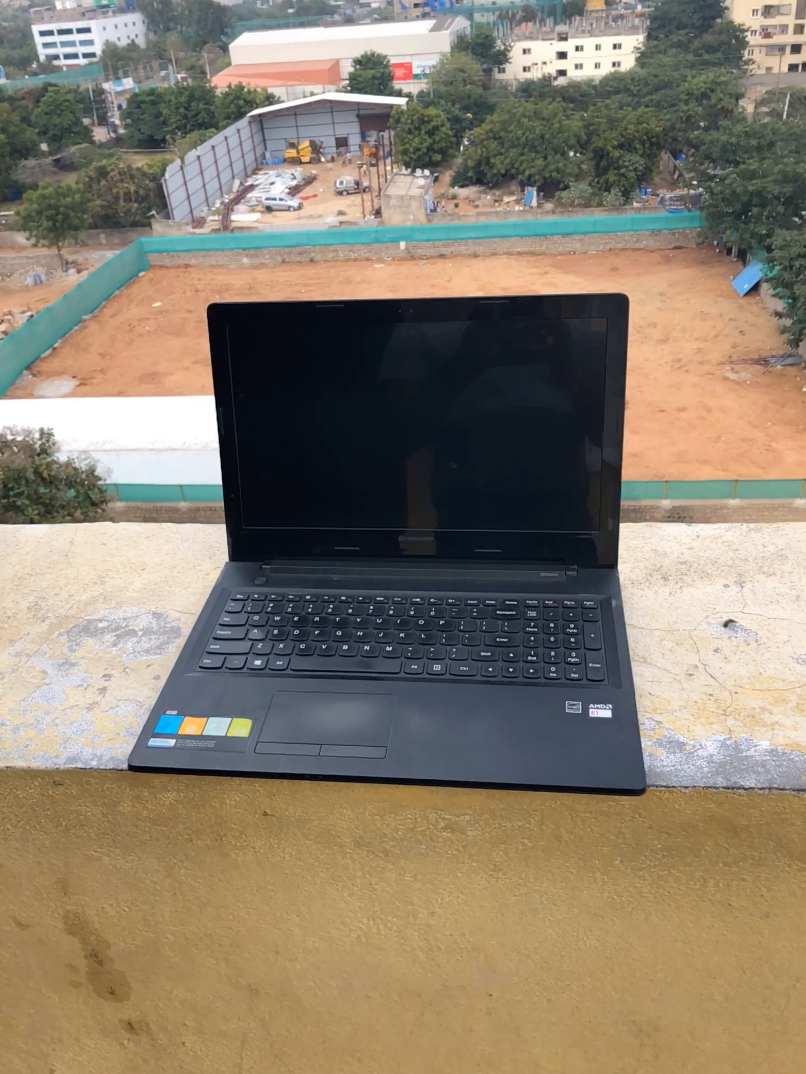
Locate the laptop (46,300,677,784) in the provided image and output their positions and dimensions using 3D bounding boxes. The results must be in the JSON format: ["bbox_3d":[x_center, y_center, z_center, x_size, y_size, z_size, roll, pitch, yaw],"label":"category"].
[{"bbox_3d":[-0.005,-0.022,0.707,0.366,0.229,0.331,1,33,7],"label":"laptop"}]
